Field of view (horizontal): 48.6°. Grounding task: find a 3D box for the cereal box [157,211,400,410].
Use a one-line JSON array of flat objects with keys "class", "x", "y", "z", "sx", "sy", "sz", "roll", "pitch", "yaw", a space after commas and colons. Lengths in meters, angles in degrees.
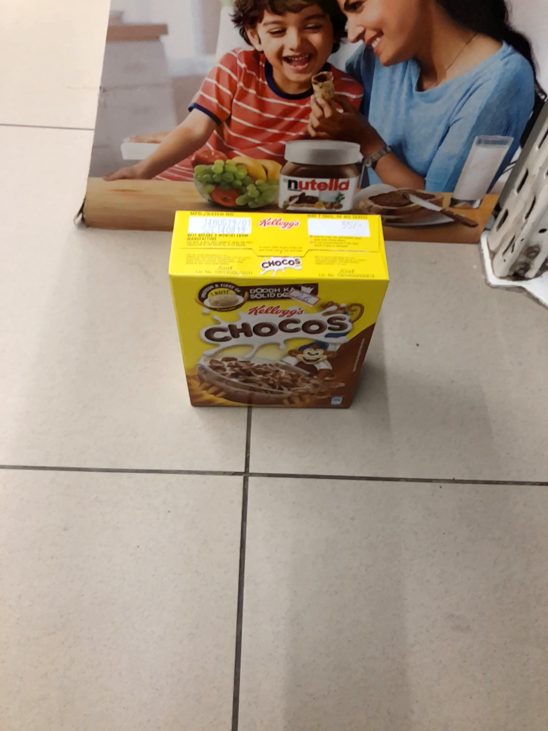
[{"class": "cereal box", "x": -0.001, "y": -0.029, "z": 0.435, "sx": 0.140, "sy": 0.169, "sz": 0.050, "roll": 1, "pitch": 60, "yaw": -2}]
